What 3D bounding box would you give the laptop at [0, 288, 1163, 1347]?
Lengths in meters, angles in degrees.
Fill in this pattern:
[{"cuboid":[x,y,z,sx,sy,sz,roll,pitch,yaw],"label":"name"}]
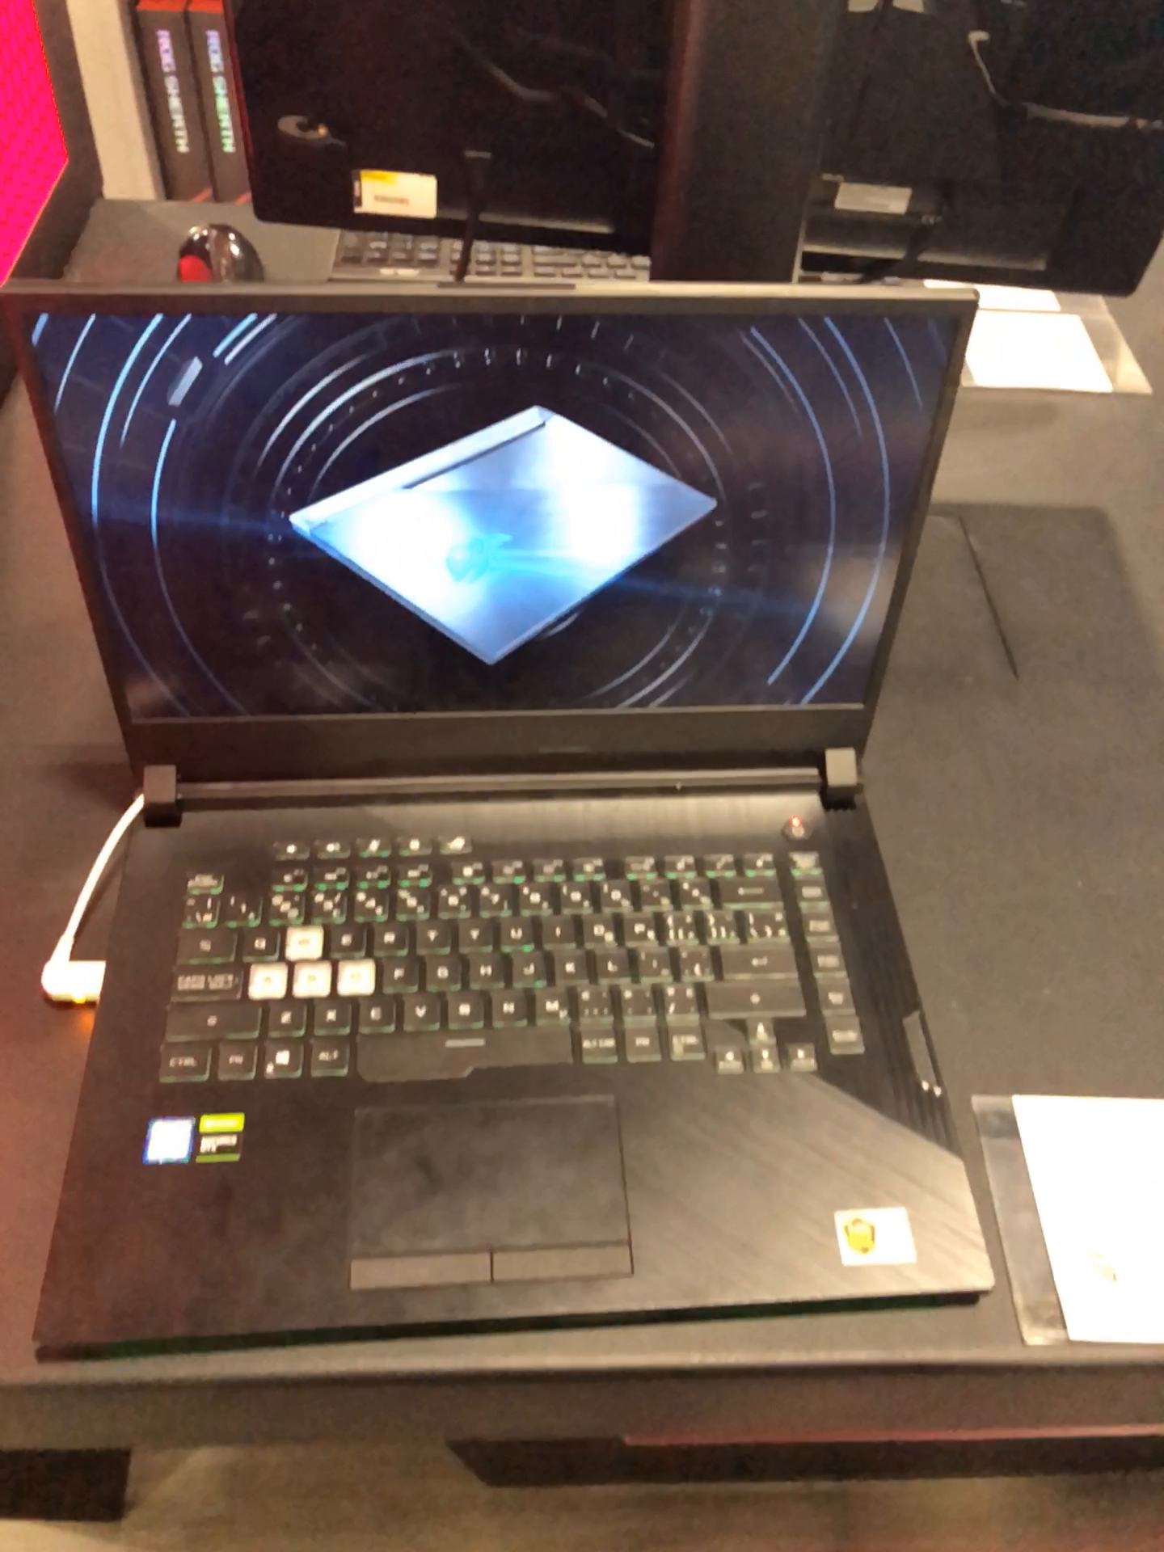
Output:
[{"cuboid":[-0.023,0.017,0.482,0.360,0.269,0.276,-1,50,-5],"label":"laptop"}]
